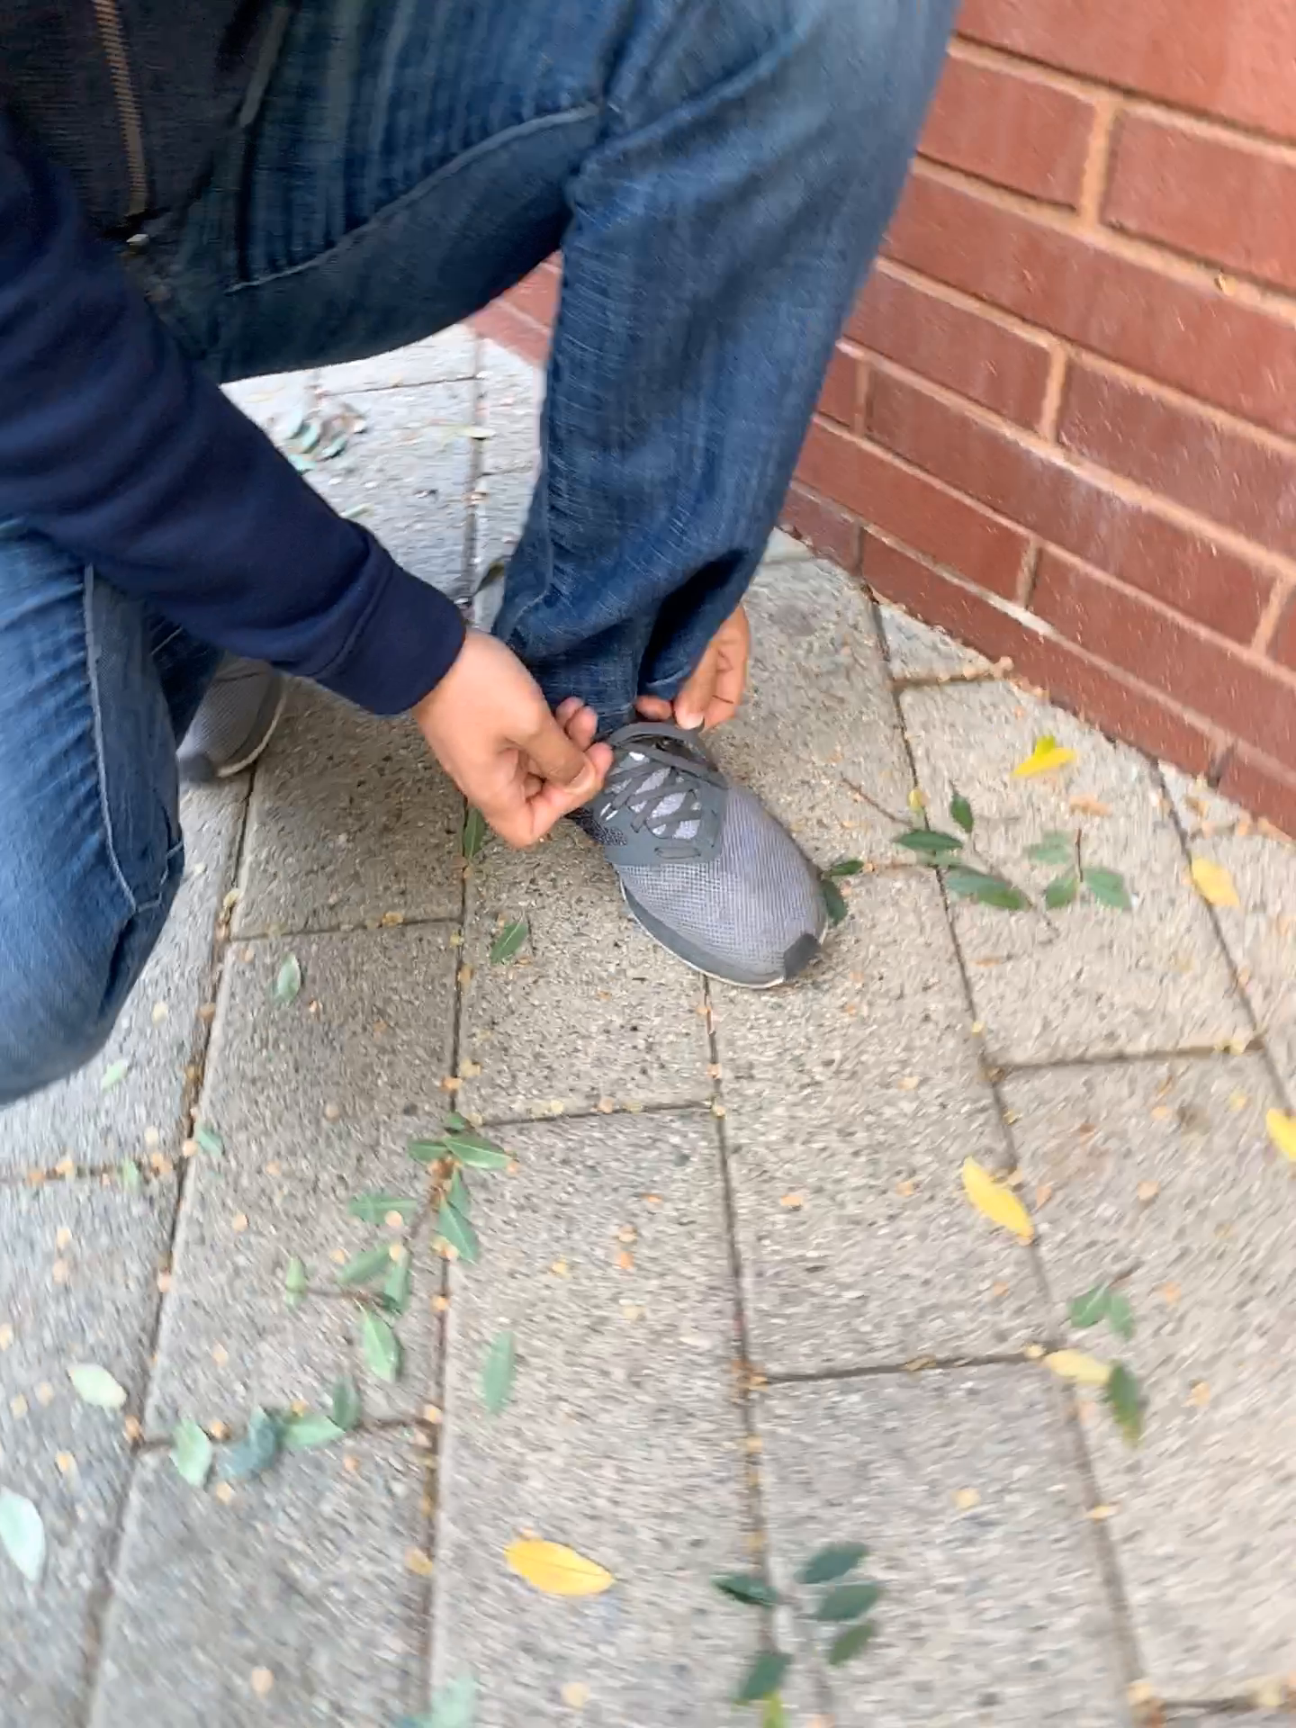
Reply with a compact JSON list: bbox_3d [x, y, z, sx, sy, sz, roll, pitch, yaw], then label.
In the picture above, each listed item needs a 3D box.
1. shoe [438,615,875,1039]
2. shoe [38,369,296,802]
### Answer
[{"bbox_3d":[0.000,-0.033,0.835,0.111,0.083,0.281,-35,56,-21],"label":"shoe"},{"bbox_3d":[-0.325,-0.185,0.913,0.116,0.274,0.098,0,10,8],"label":"shoe"}]
